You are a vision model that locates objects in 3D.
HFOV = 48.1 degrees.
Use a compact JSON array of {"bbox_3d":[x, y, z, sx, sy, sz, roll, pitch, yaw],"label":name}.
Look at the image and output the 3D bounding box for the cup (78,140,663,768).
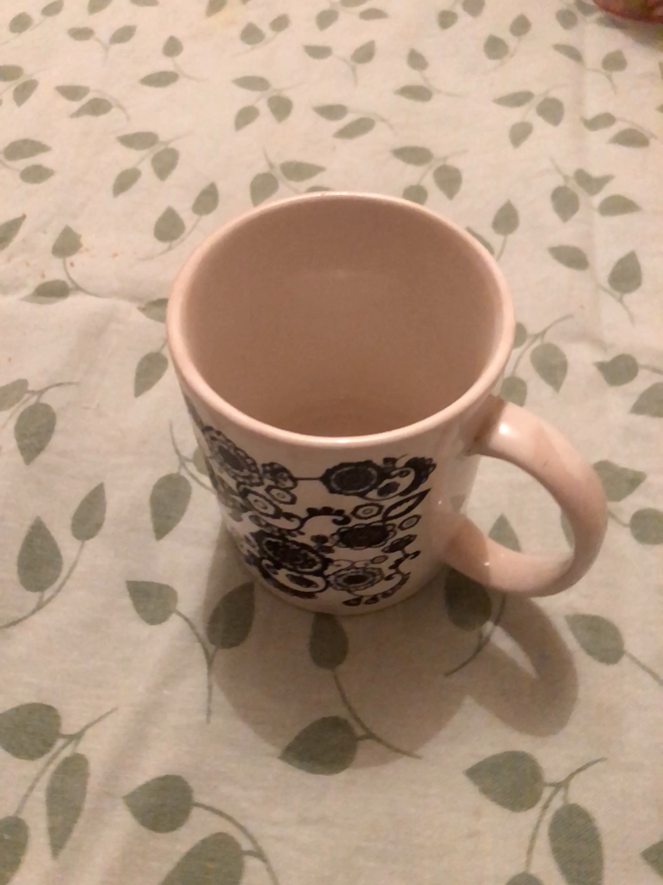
[{"bbox_3d":[0.018,0.005,0.198,0.120,0.099,0.080,31,62,19],"label":"cup"}]
